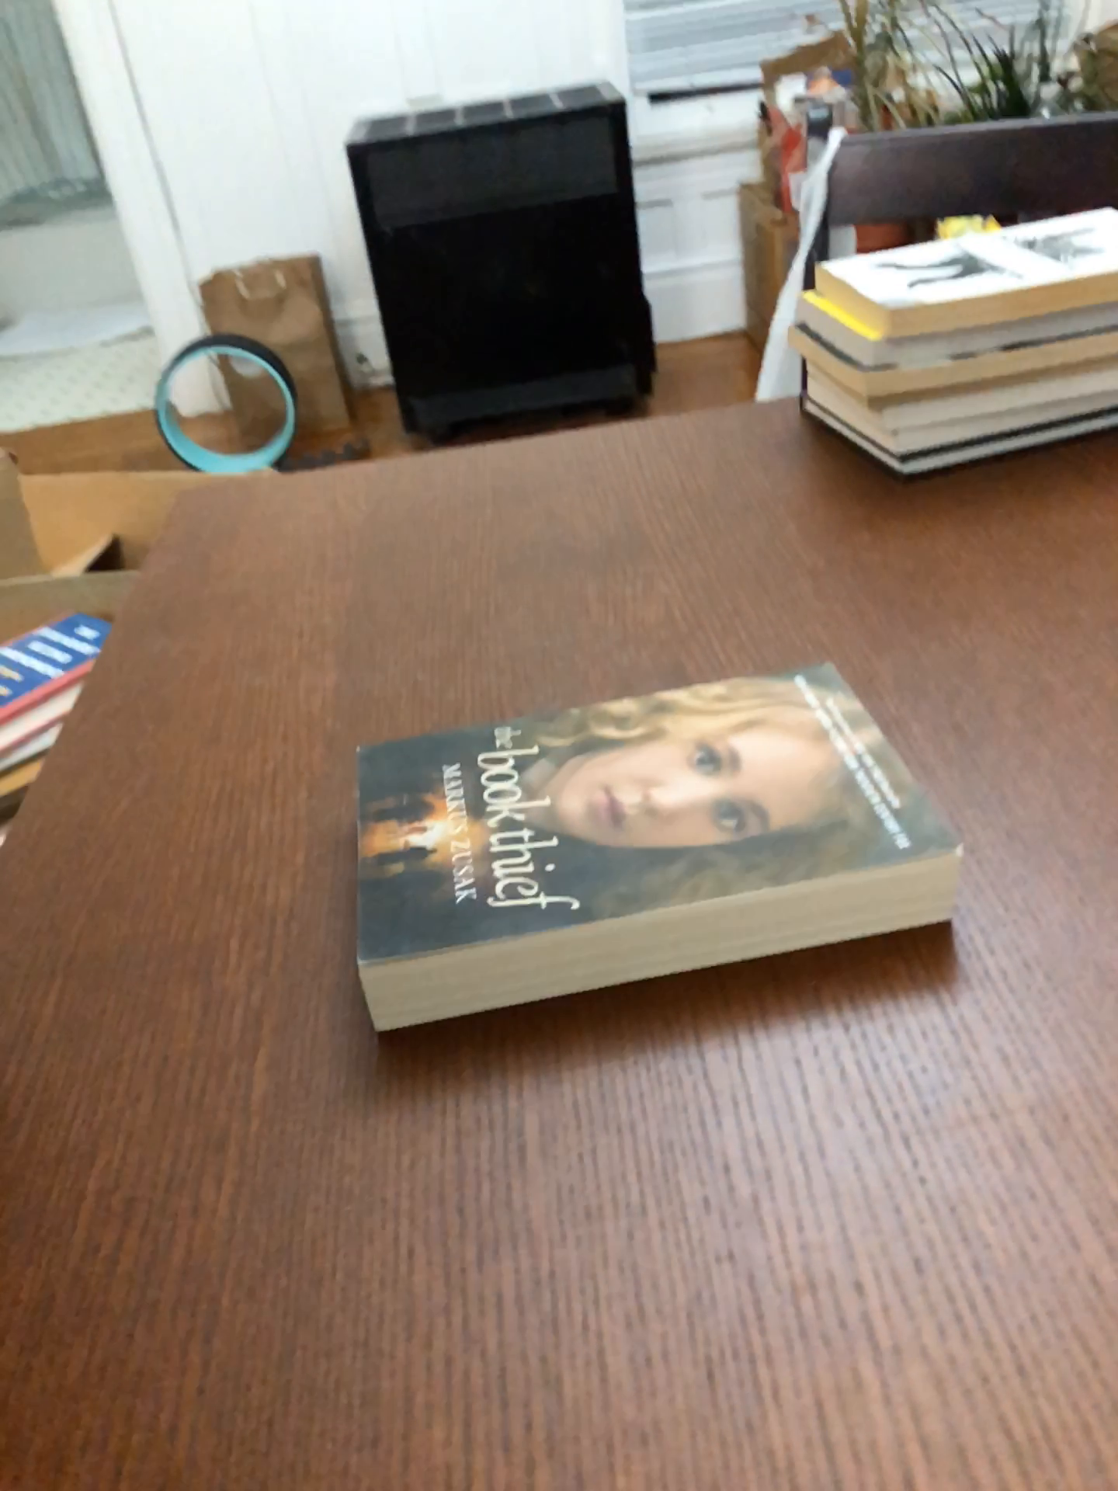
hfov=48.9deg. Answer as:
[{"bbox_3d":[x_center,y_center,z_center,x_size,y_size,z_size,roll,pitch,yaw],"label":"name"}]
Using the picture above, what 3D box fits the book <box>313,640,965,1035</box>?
[{"bbox_3d":[0.020,0.026,0.478,0.220,0.030,0.151,-11,33,-2],"label":"book"}]
